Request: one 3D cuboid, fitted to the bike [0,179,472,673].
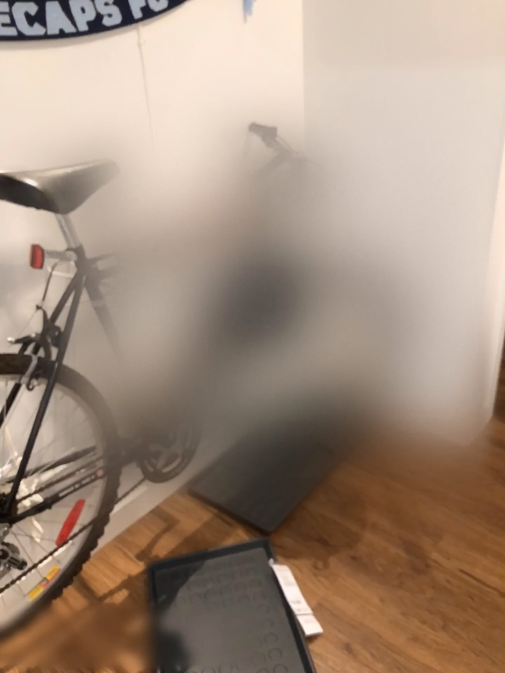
[{"bbox_3d":[-0.157,0.124,1.361,1.568,0.846,0.559,-20,30,-39],"label":"bike"}]
